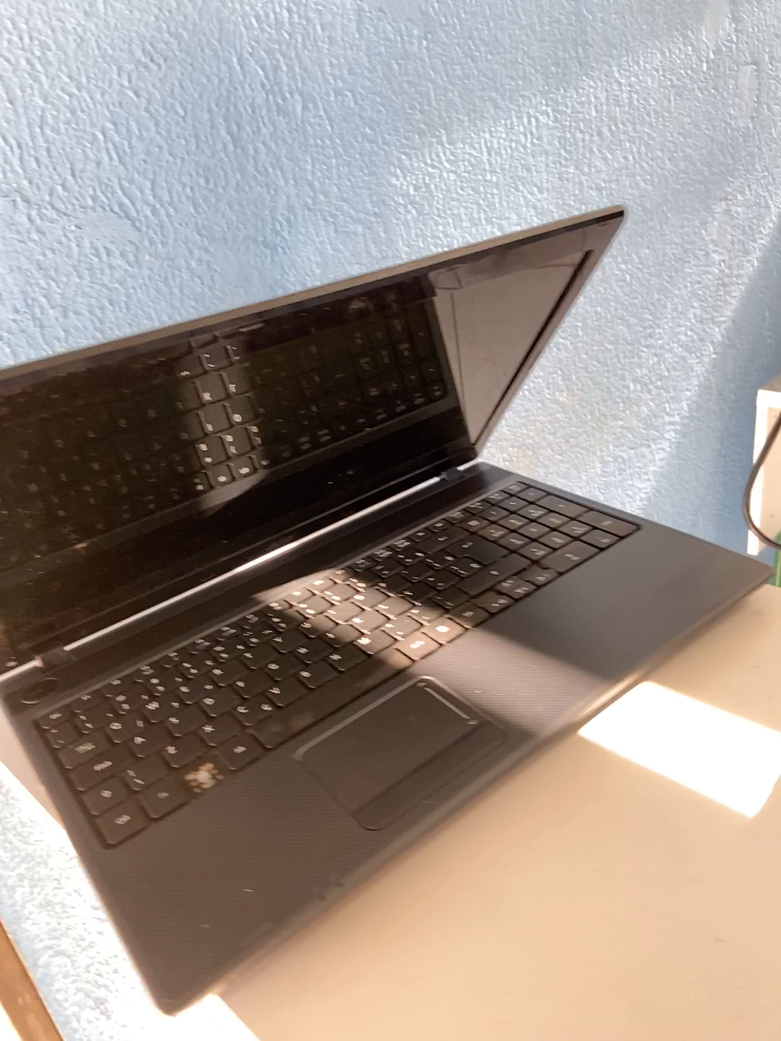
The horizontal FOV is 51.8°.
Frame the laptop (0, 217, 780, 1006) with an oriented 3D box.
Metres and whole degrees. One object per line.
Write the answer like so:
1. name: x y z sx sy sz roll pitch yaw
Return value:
1. laptop: -0.017 -0.023 0.421 0.377 0.191 0.248 -25 30 -30
